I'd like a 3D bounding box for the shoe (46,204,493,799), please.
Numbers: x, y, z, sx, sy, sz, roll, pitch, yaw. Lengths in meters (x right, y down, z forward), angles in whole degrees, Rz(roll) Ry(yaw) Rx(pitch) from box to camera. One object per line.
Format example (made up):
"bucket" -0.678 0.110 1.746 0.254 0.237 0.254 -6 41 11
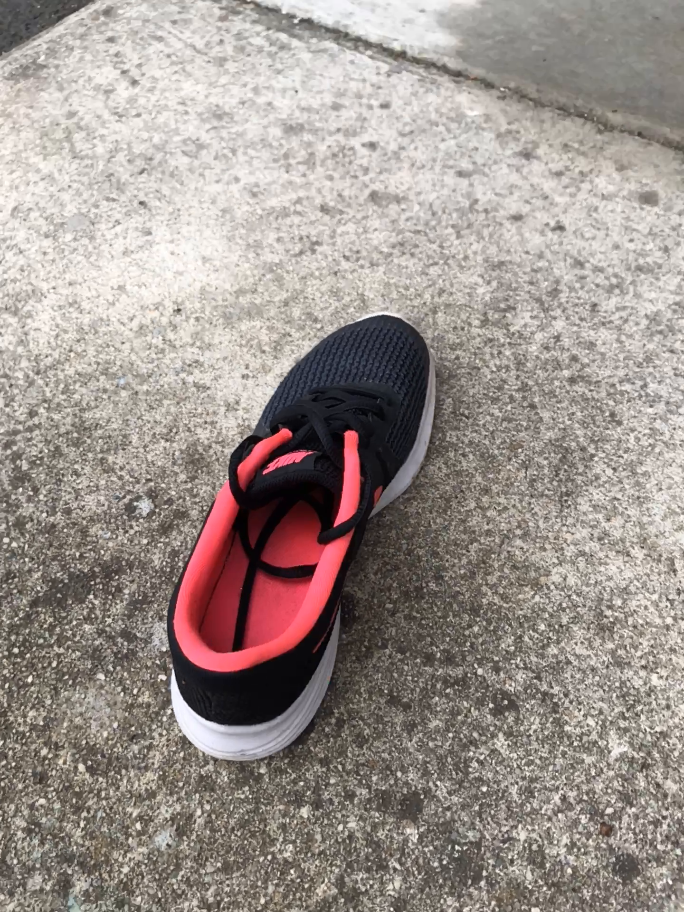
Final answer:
"shoe" -0.013 0.007 0.385 0.110 0.100 0.274 15 58 13
